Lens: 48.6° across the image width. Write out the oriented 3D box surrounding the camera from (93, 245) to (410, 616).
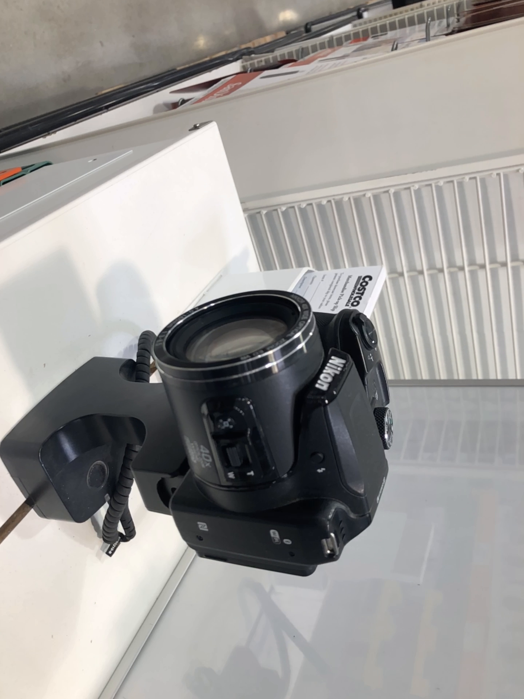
[{"bbox_3d":[0.010,0.029,0.258,0.116,0.079,0.101,-58,139,-48],"label":"camera"}]
